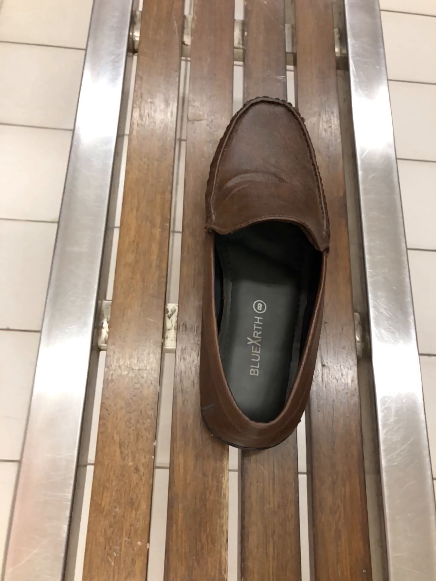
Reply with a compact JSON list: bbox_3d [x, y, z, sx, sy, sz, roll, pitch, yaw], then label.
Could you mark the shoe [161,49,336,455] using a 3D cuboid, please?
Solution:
[{"bbox_3d":[0.026,-0.031,0.360,0.090,0.090,0.281,8,70,-2],"label":"shoe"}]
